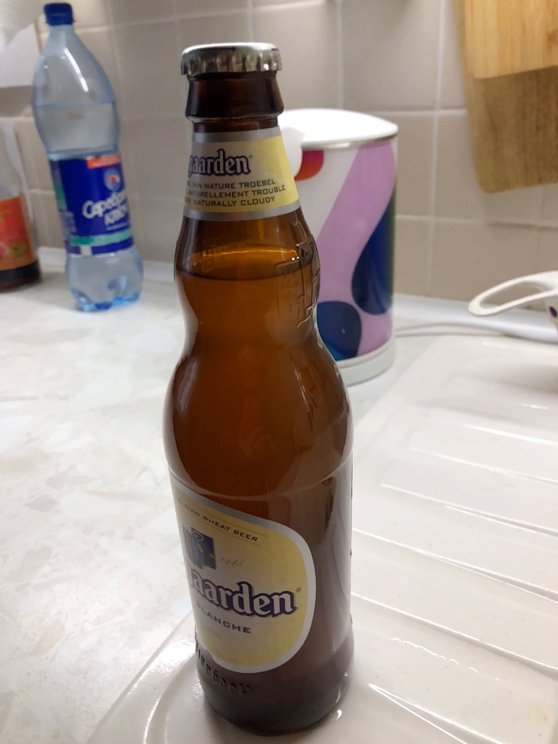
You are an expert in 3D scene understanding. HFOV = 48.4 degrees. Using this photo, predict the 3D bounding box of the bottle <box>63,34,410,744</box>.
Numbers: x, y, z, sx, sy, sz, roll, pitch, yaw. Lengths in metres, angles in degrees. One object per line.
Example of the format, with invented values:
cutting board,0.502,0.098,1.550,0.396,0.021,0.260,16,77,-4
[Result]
bottle,-0.007,0.020,0.210,0.060,0.231,0.070,-23,31,-36
